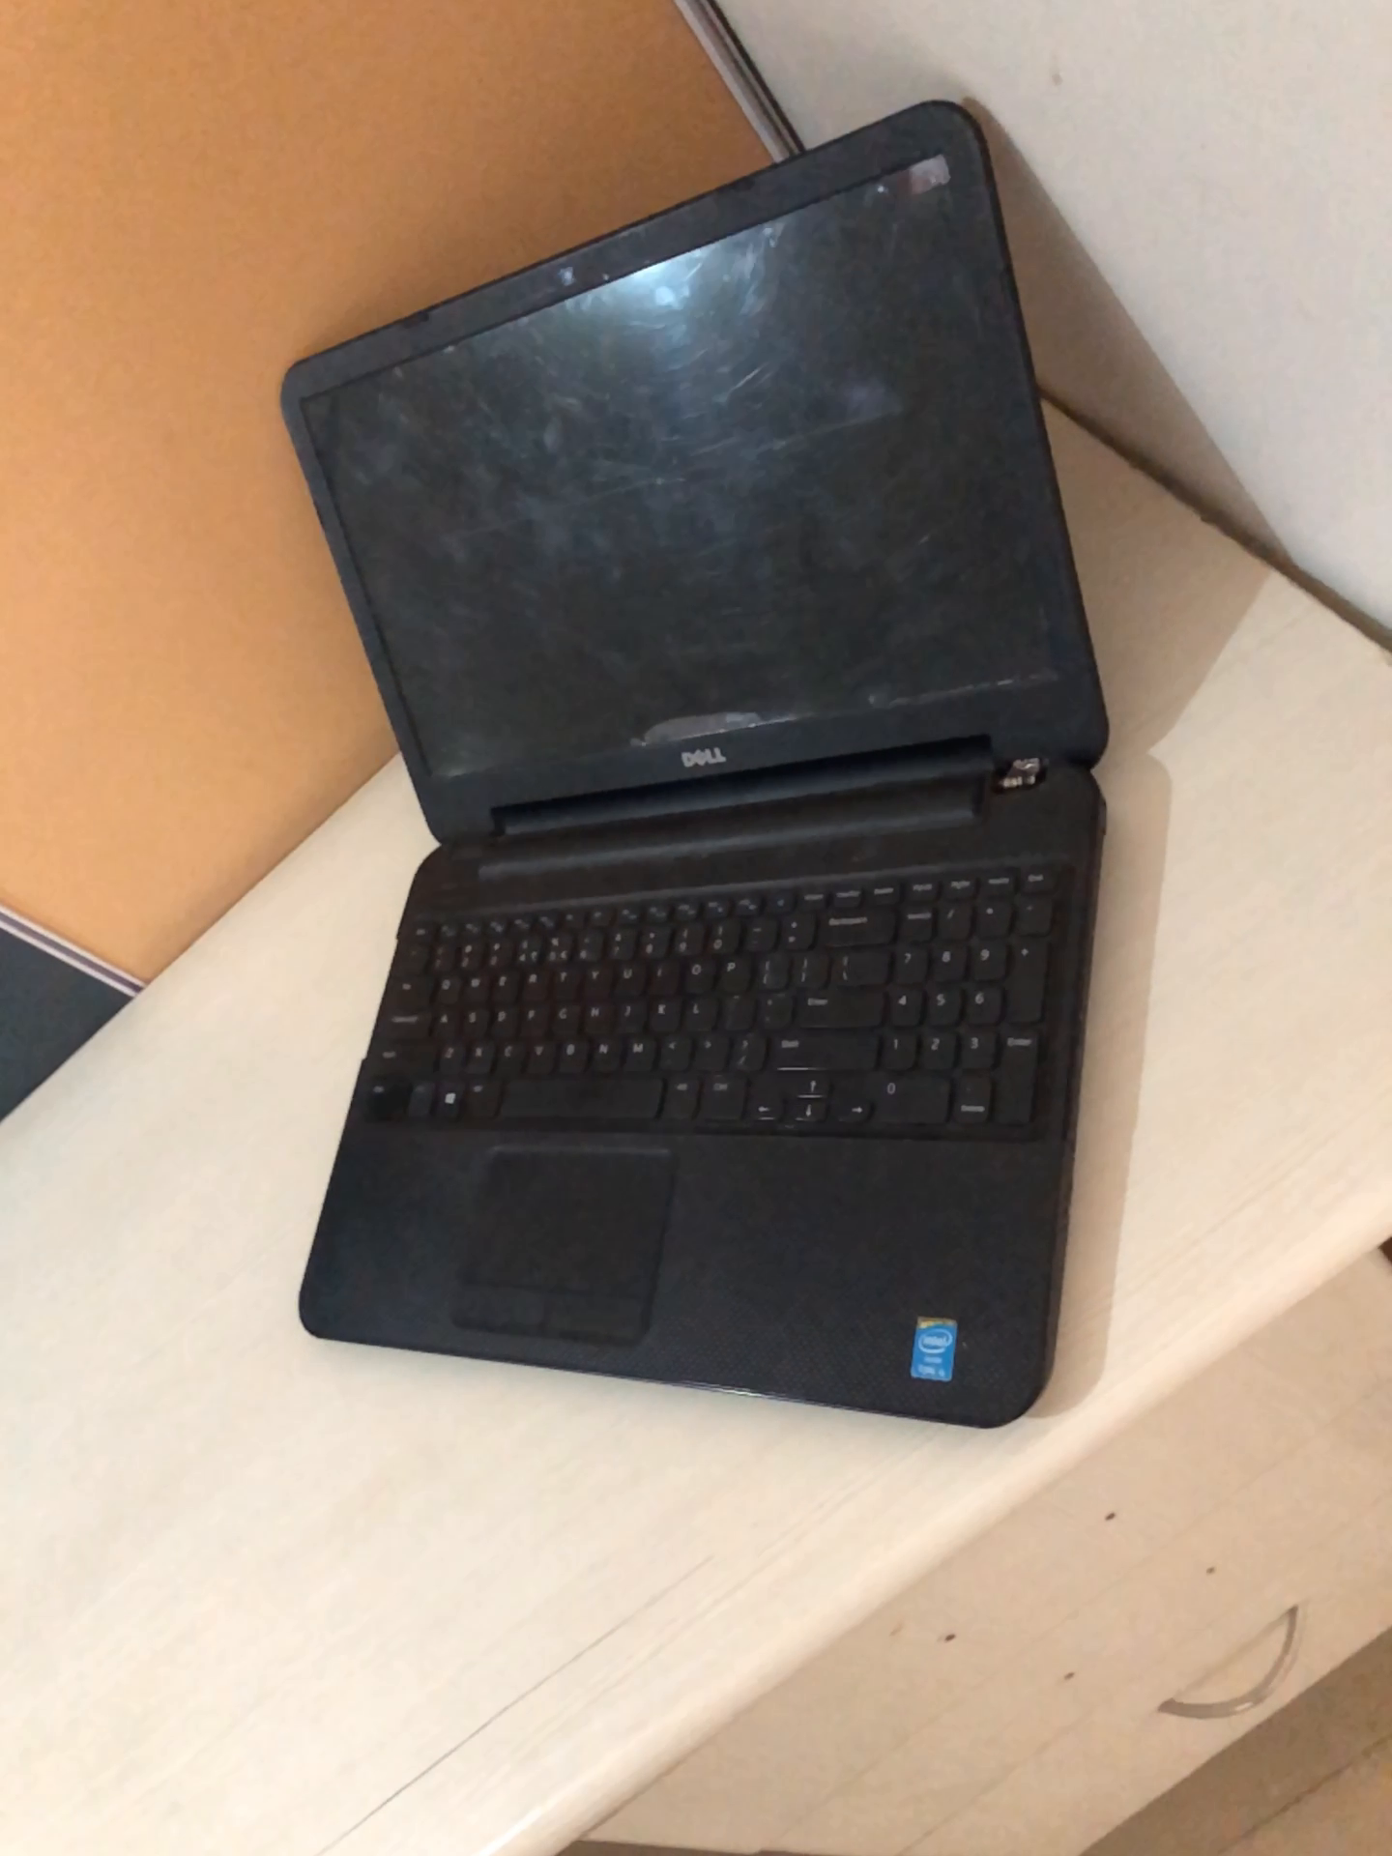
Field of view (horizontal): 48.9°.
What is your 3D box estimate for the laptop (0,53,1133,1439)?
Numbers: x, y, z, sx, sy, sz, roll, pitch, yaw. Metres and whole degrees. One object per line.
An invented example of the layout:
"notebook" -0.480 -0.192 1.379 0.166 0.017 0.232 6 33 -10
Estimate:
"laptop" -0.048 -0.058 0.604 0.354 0.175 0.414 -4 63 36
